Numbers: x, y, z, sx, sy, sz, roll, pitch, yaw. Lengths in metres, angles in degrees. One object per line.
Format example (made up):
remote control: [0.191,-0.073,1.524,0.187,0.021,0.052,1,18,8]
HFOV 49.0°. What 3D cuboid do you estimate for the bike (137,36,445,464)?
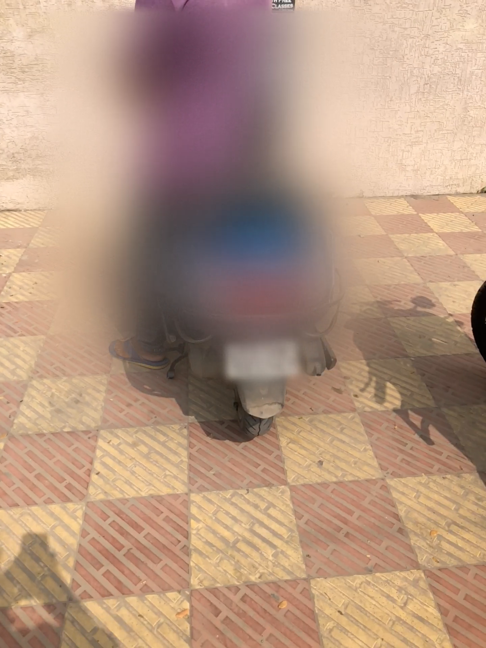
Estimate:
bike: [-0.028,-0.491,2.096,0.623,1.037,1.709,-6,32,-10]
